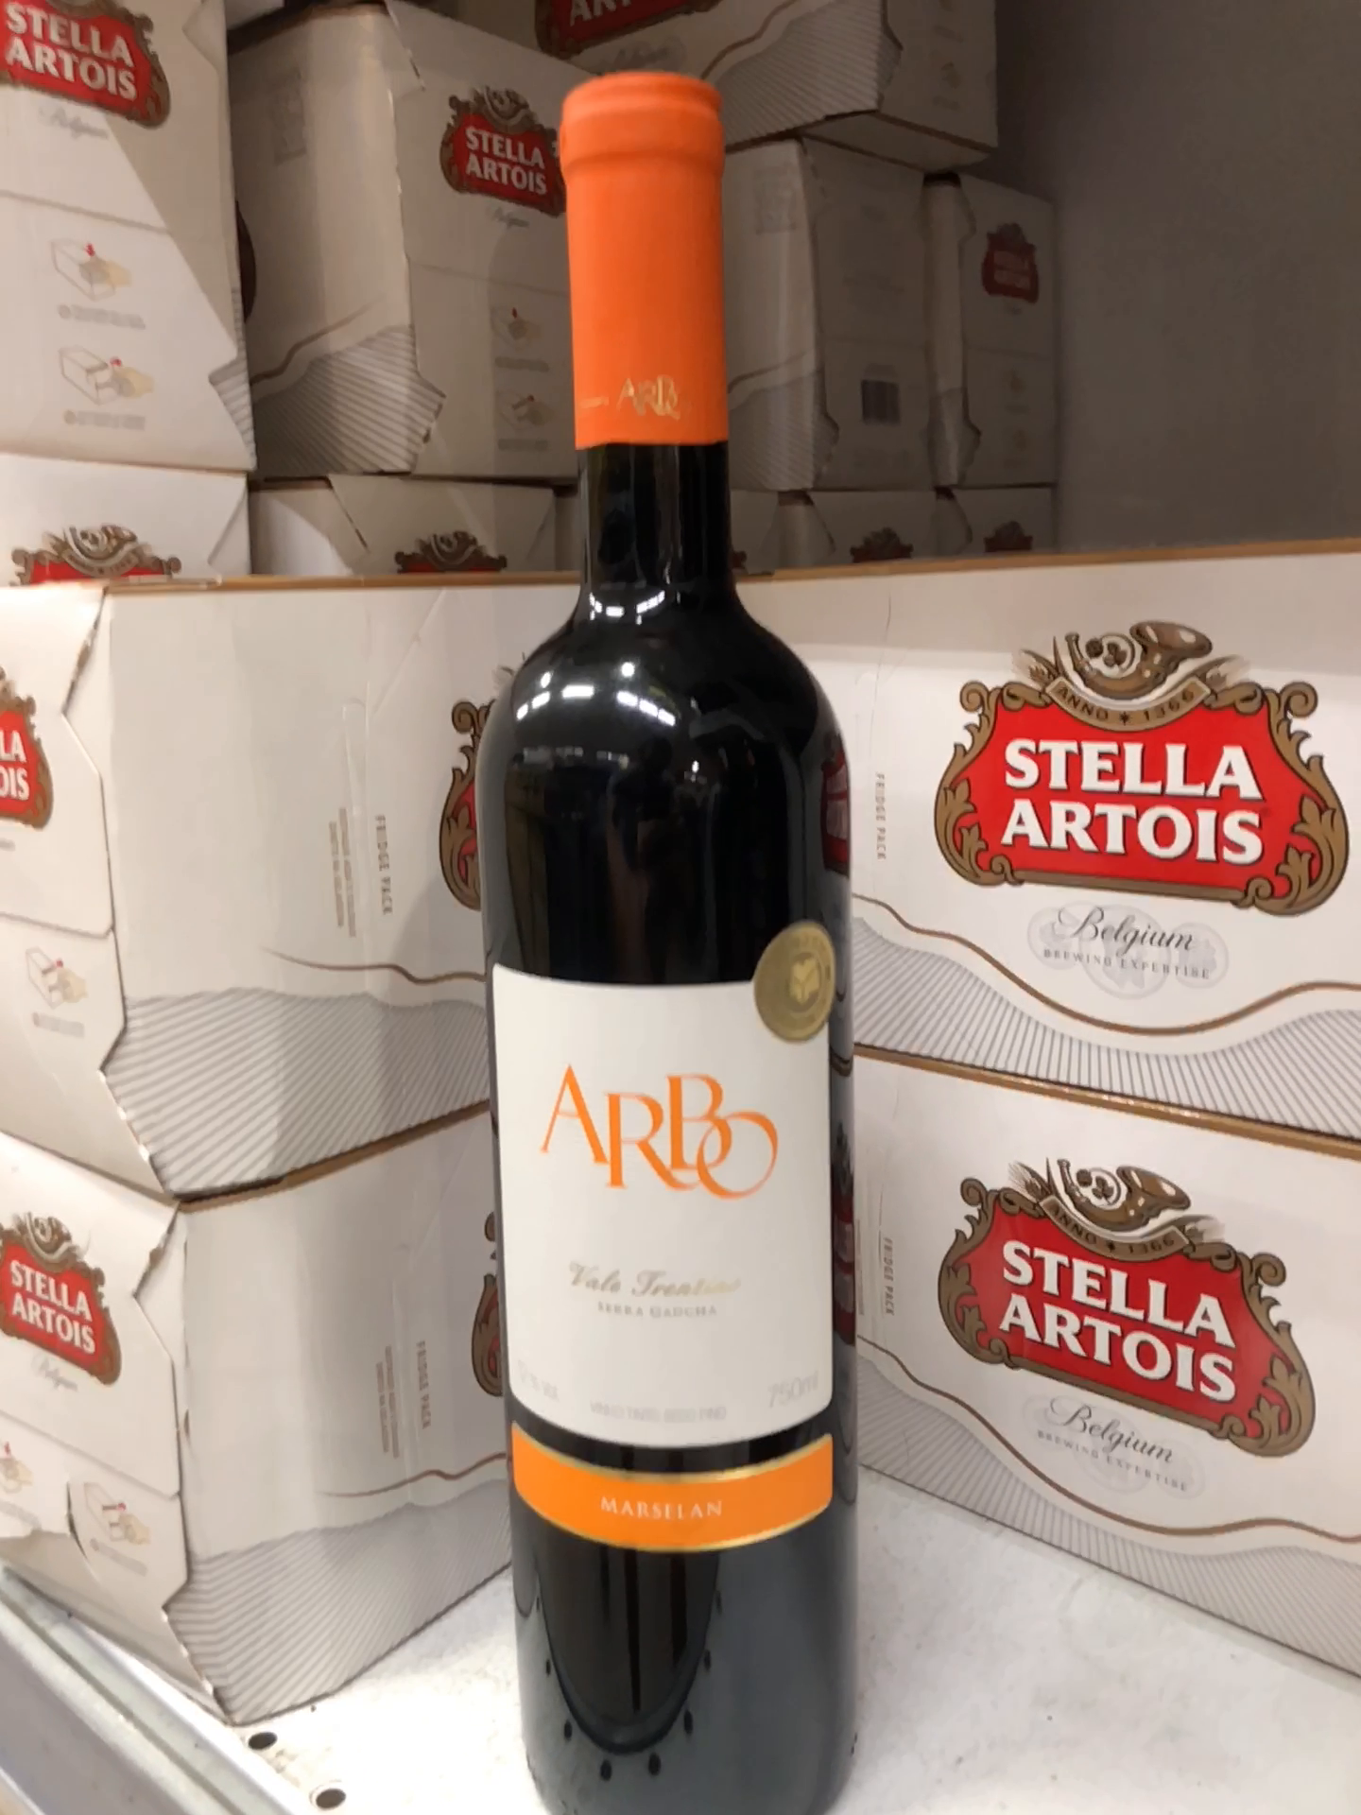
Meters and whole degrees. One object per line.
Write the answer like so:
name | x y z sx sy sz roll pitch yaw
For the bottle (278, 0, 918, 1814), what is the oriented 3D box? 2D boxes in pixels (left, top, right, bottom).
bottle | -0.004 0.017 0.267 0.080 0.309 0.070 -2 12 5
